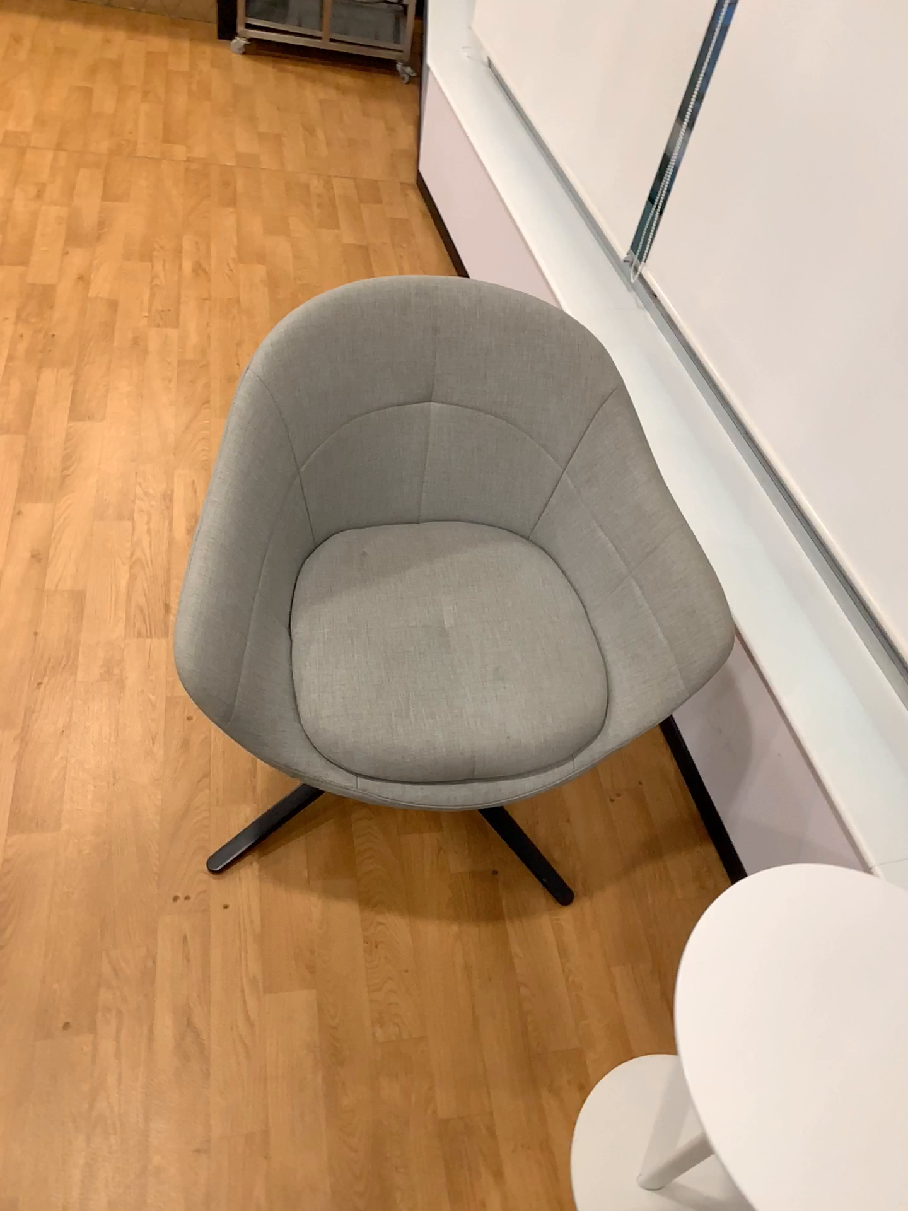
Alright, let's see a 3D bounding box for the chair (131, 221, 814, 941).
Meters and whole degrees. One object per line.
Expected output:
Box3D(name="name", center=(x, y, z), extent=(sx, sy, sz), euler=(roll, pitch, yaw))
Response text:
Box3D(name="chair", center=(-0.068, -0.011, 1.378), extent=(0.670, 0.754, 0.685), euler=(0, 49, -13))
